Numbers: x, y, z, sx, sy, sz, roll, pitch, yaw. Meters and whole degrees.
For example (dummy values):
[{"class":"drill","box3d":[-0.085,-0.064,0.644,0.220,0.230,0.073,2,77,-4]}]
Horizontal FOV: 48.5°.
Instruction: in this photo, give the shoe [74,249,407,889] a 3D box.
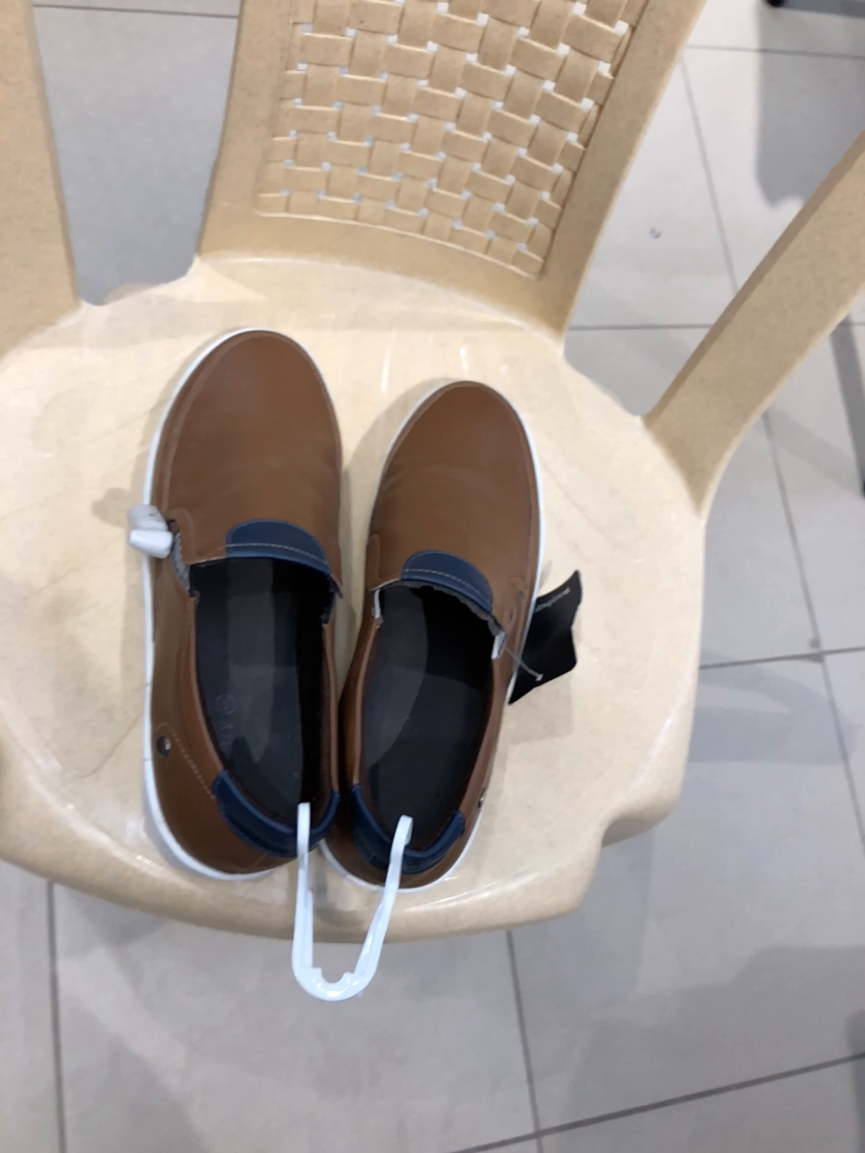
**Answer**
[{"class":"shoe","box3d":[-0.084,0.004,0.453,0.105,0.099,0.271,14,66,-35]}]

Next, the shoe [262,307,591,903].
[{"class":"shoe","box3d":[0.001,0.014,0.489,0.104,0.099,0.271,12,69,-2]}]
